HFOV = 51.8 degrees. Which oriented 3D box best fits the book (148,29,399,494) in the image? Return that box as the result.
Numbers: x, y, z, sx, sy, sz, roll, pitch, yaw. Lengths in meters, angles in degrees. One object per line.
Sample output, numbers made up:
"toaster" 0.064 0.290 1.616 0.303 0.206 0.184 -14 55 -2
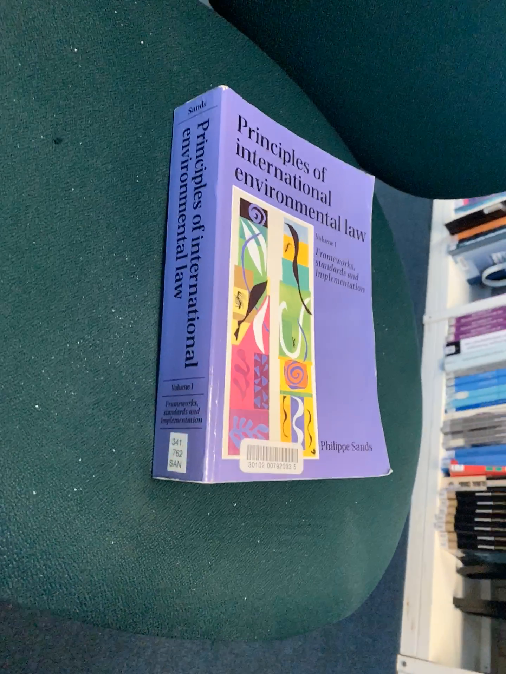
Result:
"book" 0.023 -0.038 0.364 0.181 0.050 0.271 12 72 -43
